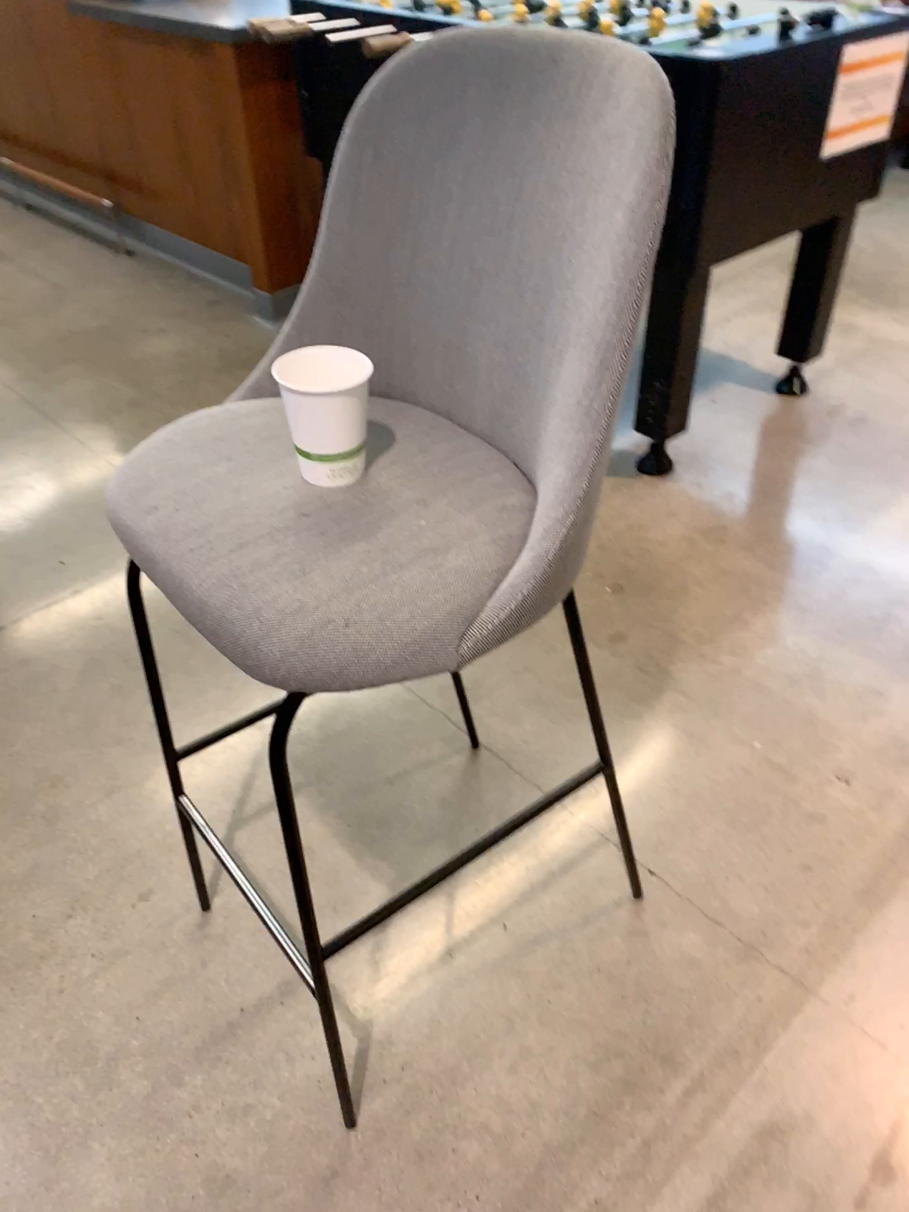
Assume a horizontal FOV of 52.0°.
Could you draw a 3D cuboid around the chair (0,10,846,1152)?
[{"bbox_3d":[-0.060,0.004,1.046,0.571,1.053,0.472,-27,45,-28],"label":"chair"}]
